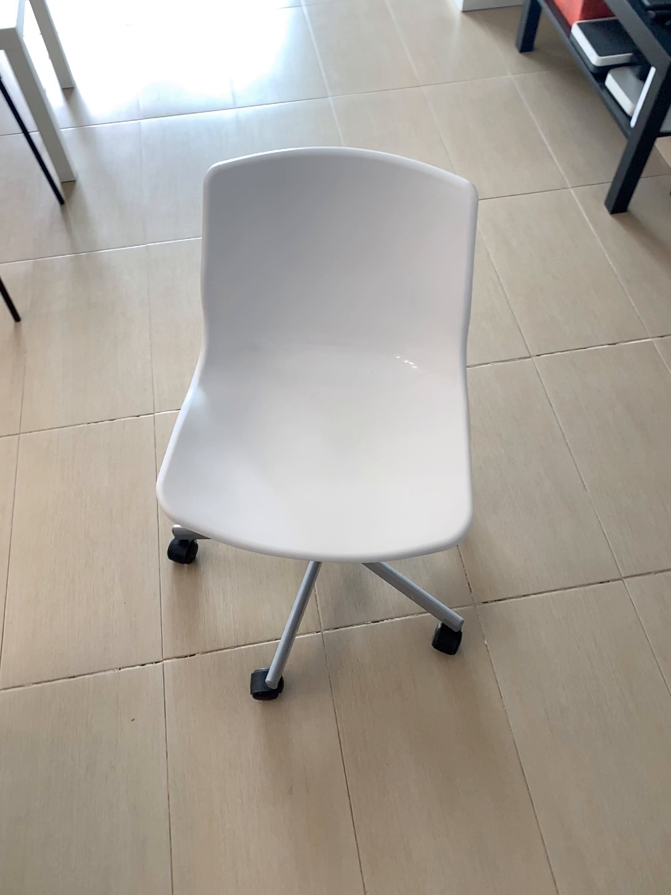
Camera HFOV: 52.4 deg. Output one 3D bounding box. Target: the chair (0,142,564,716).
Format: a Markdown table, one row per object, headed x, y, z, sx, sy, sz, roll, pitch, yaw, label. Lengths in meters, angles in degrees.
| x | y | z | sx | sy | sz | roll | pitch | yaw | label |
| --- | --- | --- | --- | --- | --- | --- | --- | --- | --- |
| -0.046 | -0.009 | 1.228 | 0.641 | 0.647 | 0.782 | 3 | 59 | 3 | chair |
